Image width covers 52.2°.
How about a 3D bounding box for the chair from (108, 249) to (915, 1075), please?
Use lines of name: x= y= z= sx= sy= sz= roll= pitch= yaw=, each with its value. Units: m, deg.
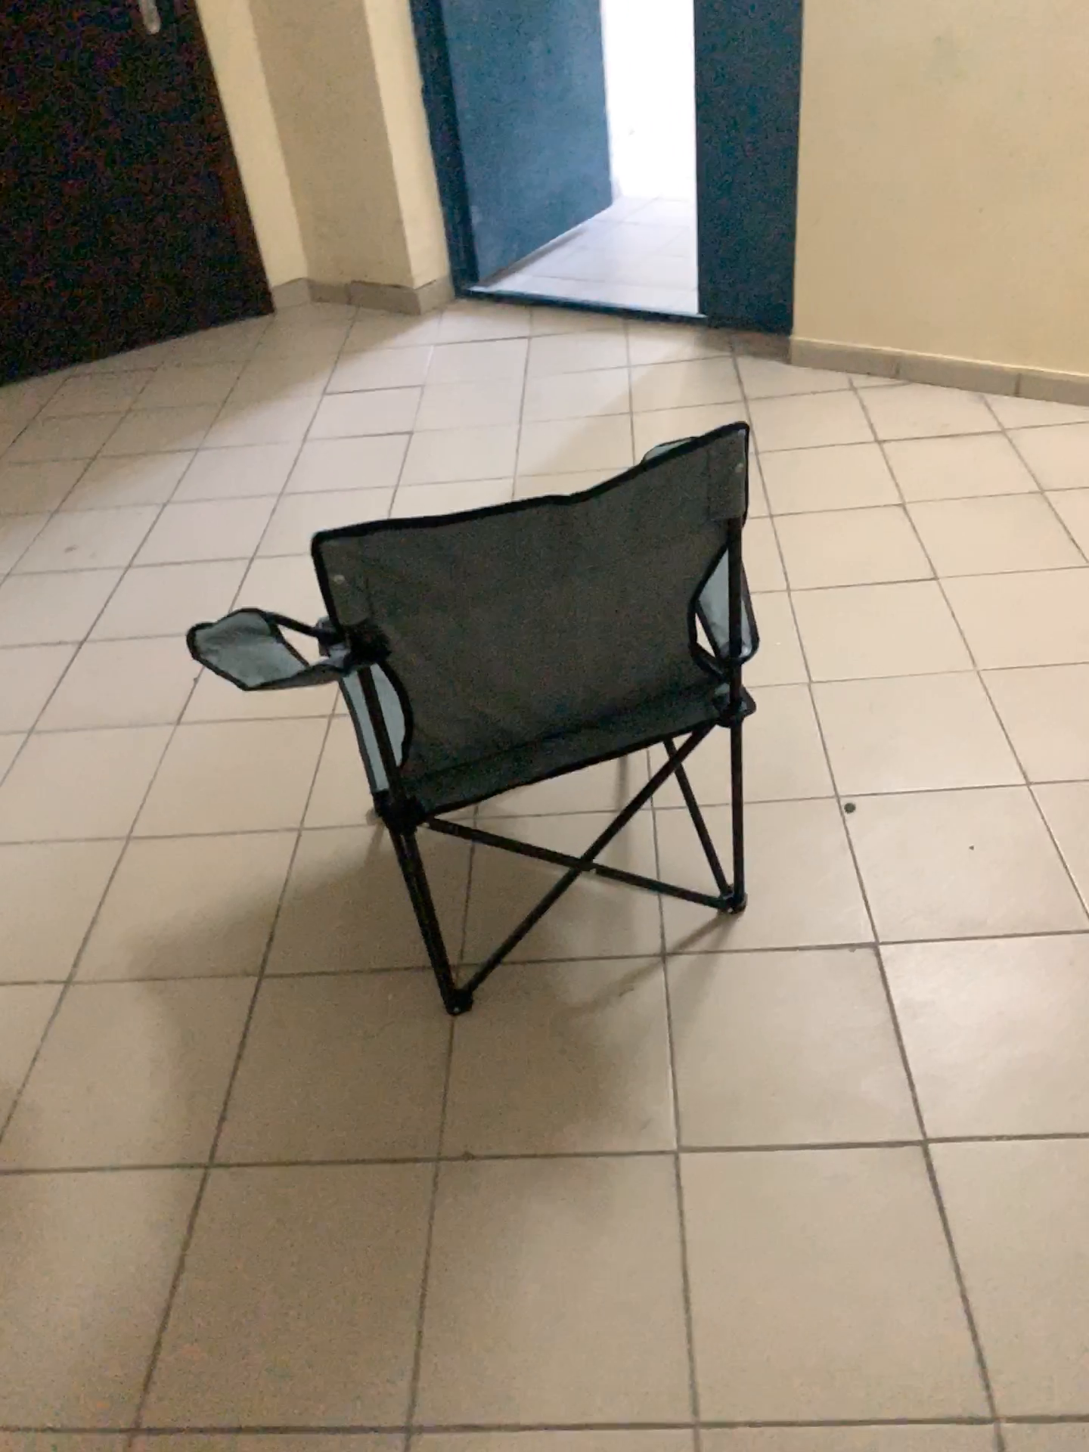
chair: x=-0.043 y=-0.110 z=1.533 sx=0.800 sy=0.756 sz=0.563 roll=-18 pitch=41 yaw=-13
